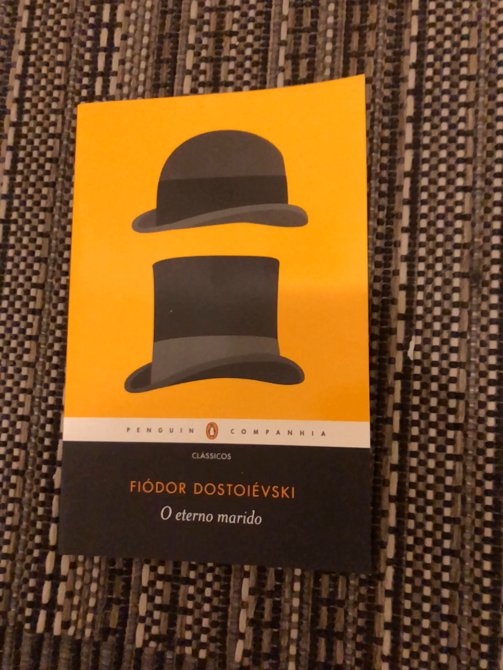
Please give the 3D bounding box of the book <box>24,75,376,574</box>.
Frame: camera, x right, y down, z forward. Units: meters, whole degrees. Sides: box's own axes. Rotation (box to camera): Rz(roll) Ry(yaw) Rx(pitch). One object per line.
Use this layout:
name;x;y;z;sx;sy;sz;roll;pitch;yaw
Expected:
book;-0.019;-0.006;0.222;0.130;0.020;0.180;-1;83;10
